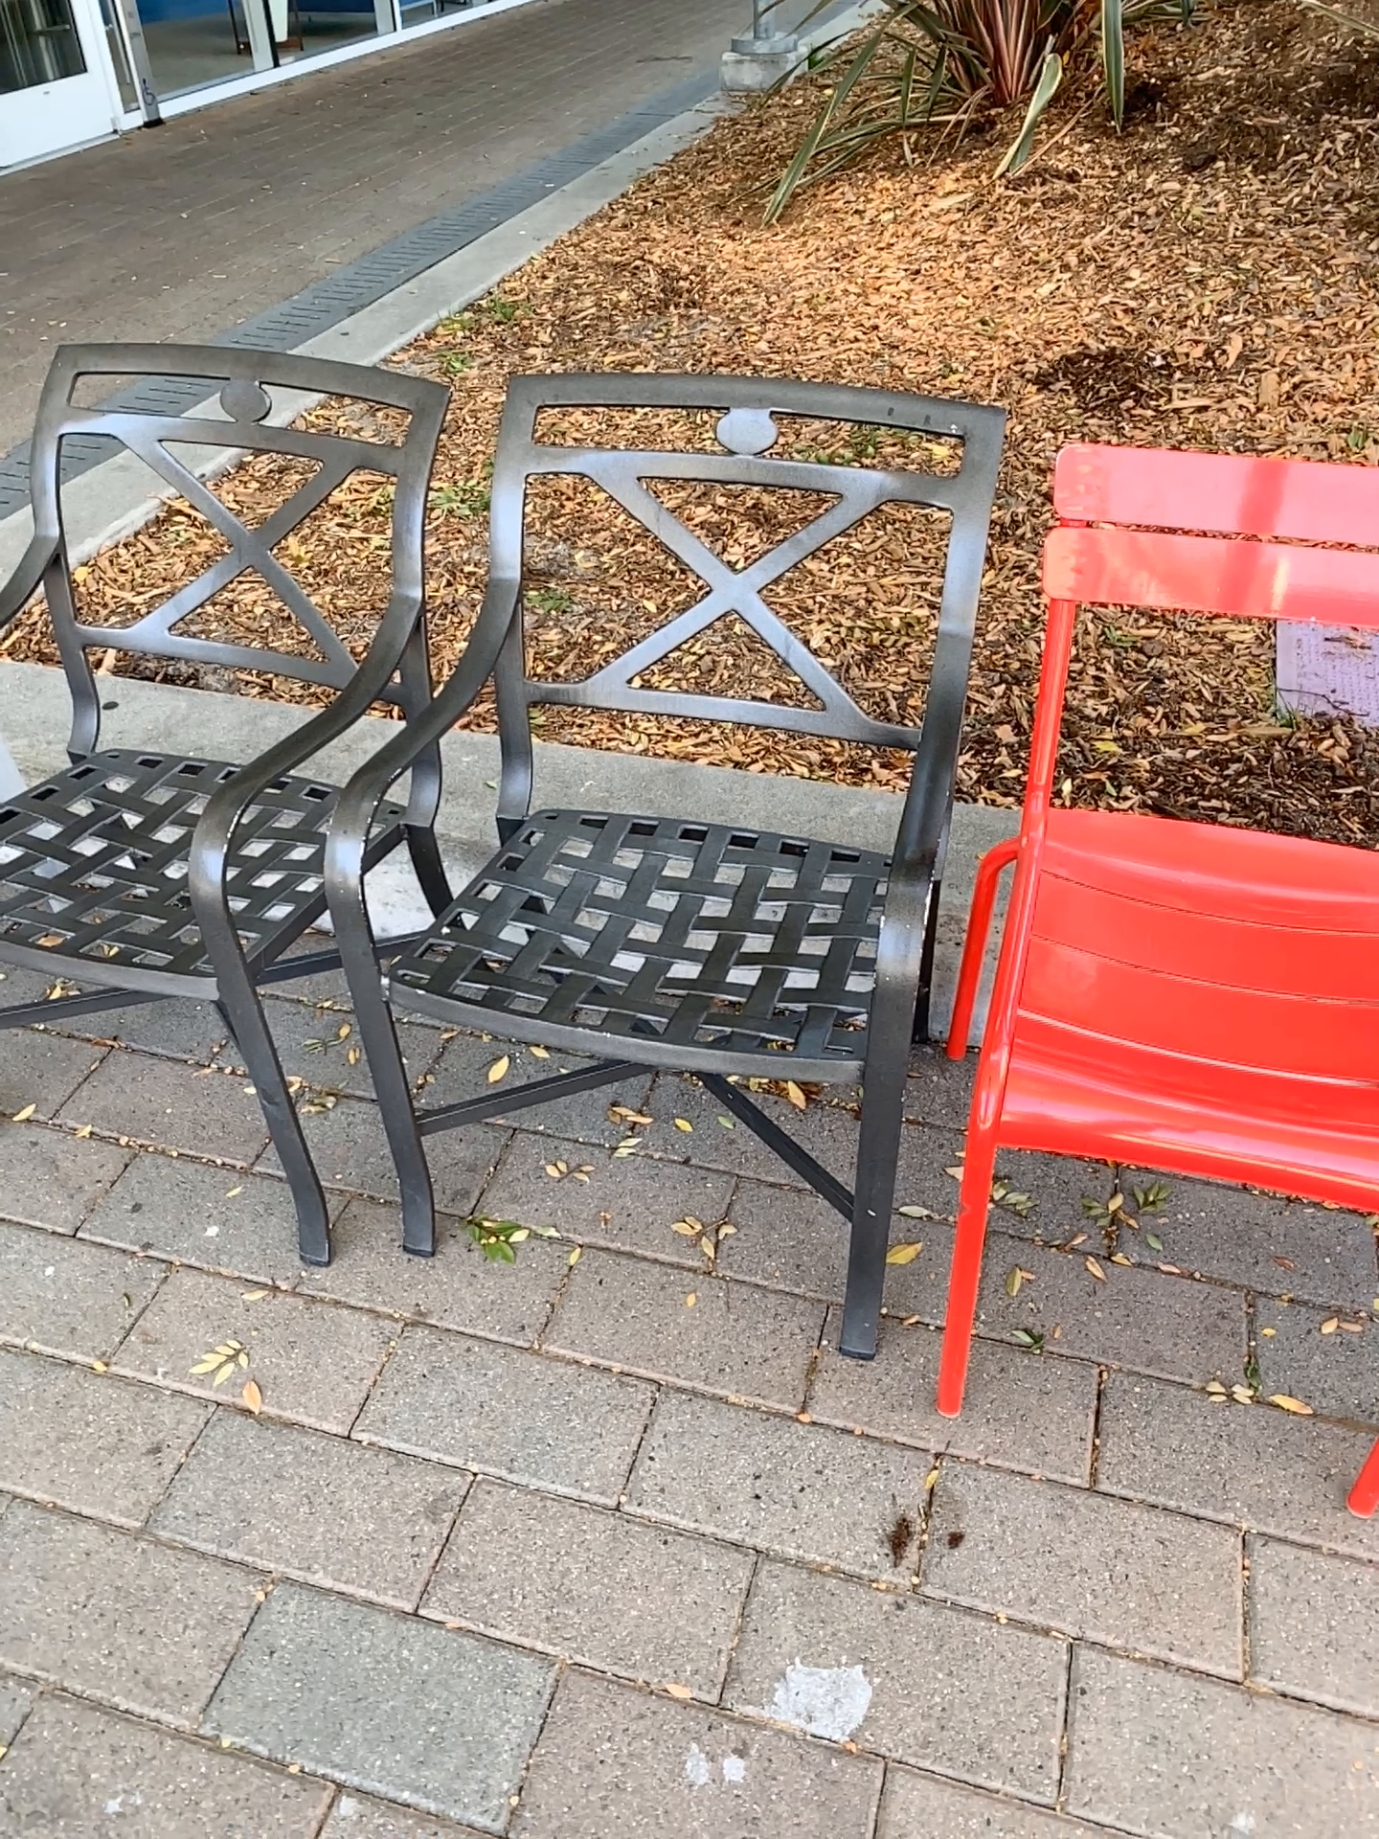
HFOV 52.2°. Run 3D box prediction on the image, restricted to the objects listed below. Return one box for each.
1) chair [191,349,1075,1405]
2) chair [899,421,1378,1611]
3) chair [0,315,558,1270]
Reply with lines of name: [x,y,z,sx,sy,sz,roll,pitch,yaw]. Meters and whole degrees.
chair: [0.012,-0.075,1.542,0.621,0.815,0.693,10,40,14]
chair: [0.597,0.067,1.348,0.621,0.815,0.643,10,40,14]
chair: [-0.603,-0.179,1.692,0.621,0.815,0.693,10,40,14]
